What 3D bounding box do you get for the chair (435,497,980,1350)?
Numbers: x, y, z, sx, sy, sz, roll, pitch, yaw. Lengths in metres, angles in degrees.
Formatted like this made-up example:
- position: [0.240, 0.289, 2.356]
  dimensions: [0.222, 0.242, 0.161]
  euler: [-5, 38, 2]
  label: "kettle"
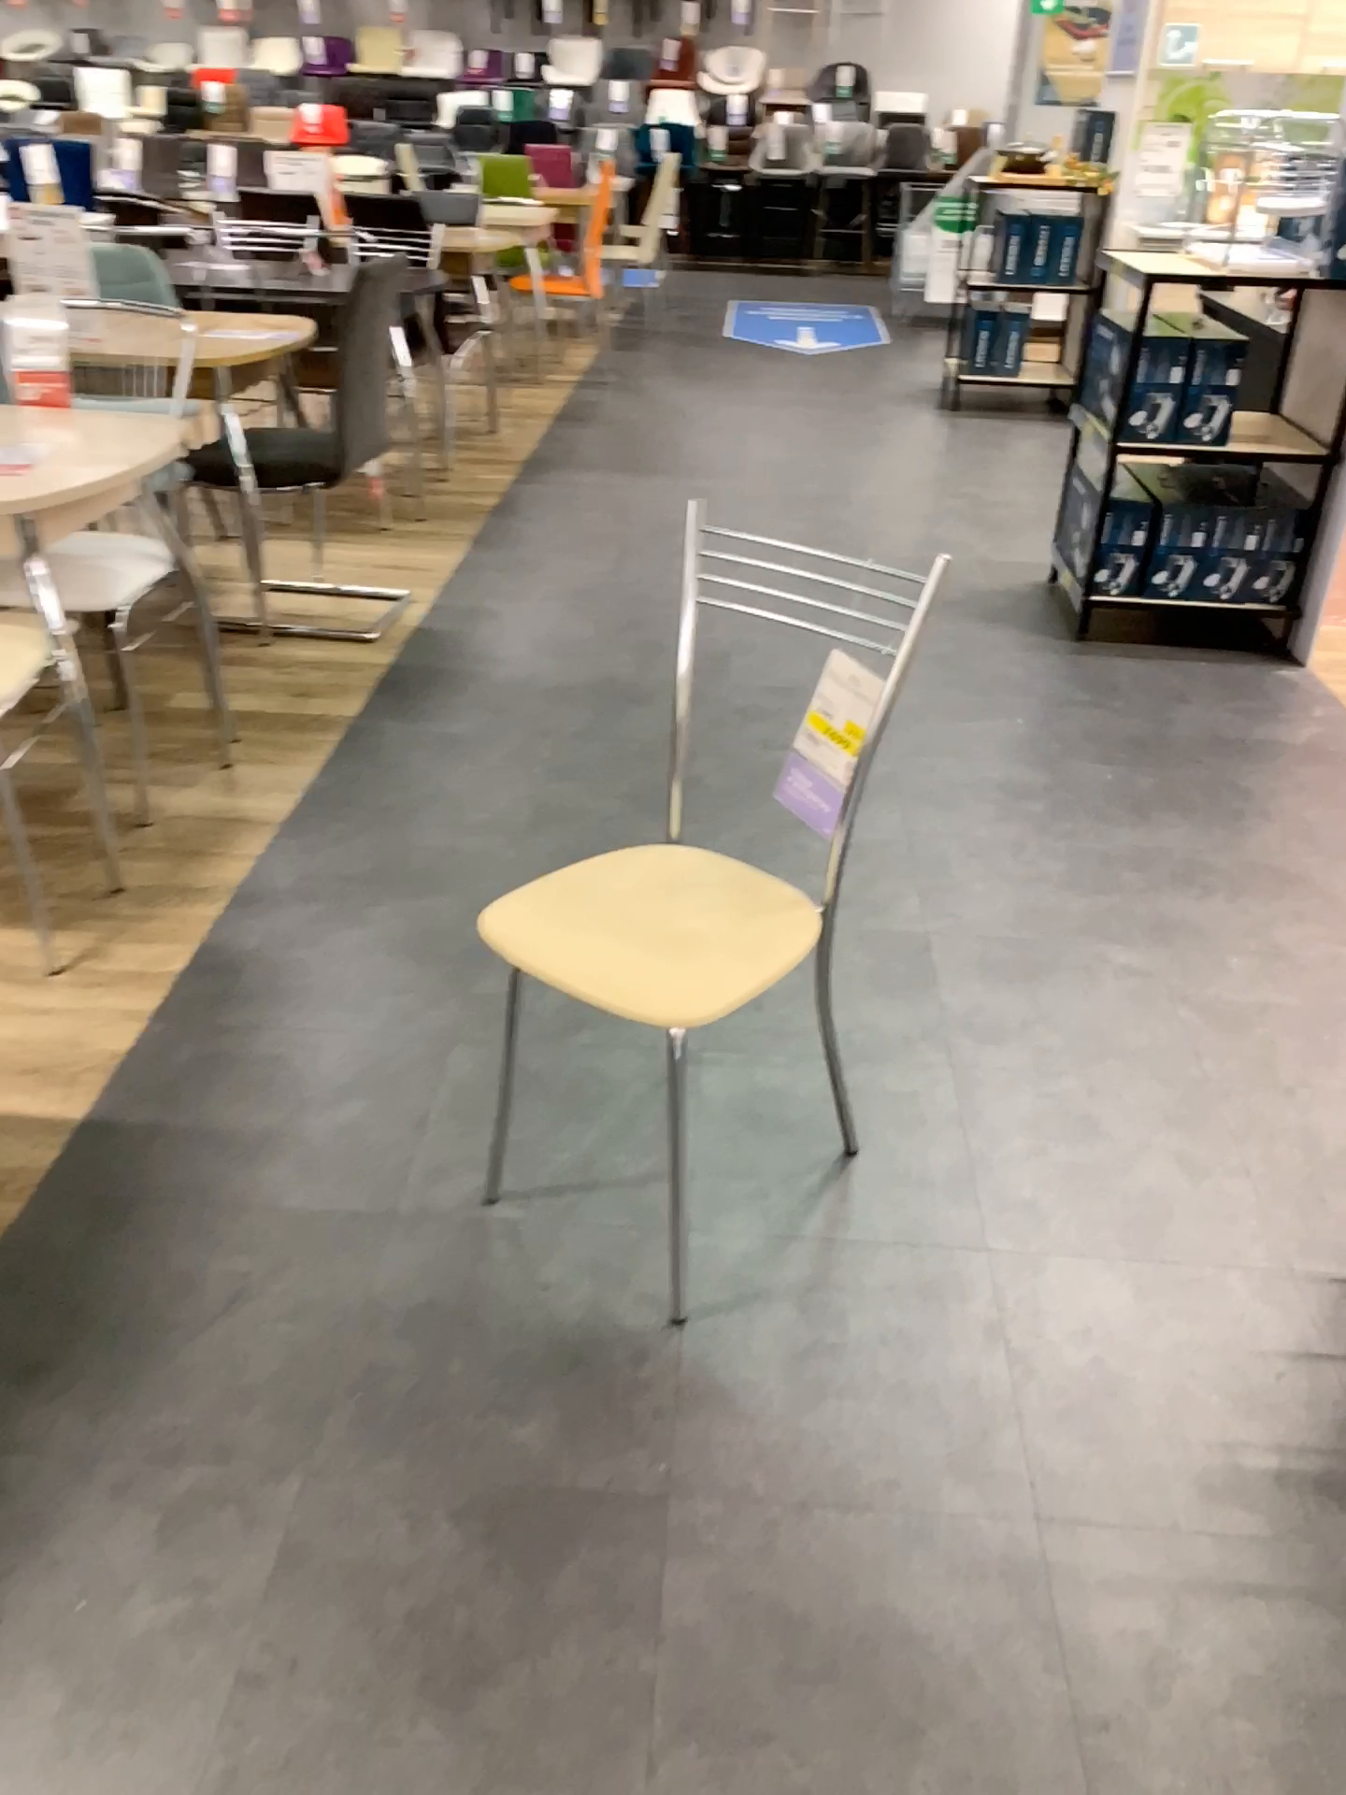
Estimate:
- position: [0.036, 0.019, 1.772]
  dimensions: [0.411, 0.905, 0.482]
  euler: [23, 36, 32]
  label: "chair"
